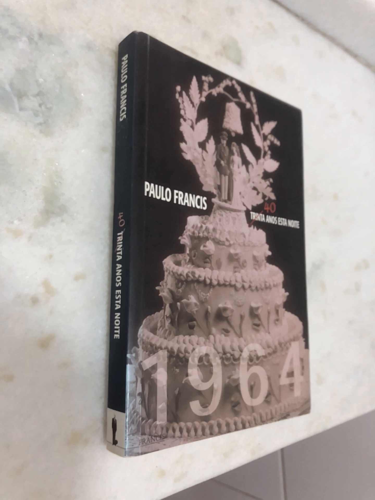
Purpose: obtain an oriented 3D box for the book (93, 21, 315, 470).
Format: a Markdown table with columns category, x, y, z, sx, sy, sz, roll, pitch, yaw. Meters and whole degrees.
| category | x | y | z | sx | sy | sz | roll | pitch | yaw |
| --- | --- | --- | --- | --- | --- | --- | --- | --- | --- |
| book | 0.019 | -0.002 | 0.240 | 0.141 | 0.020 | 0.203 | 7 | 80 | -38 |
